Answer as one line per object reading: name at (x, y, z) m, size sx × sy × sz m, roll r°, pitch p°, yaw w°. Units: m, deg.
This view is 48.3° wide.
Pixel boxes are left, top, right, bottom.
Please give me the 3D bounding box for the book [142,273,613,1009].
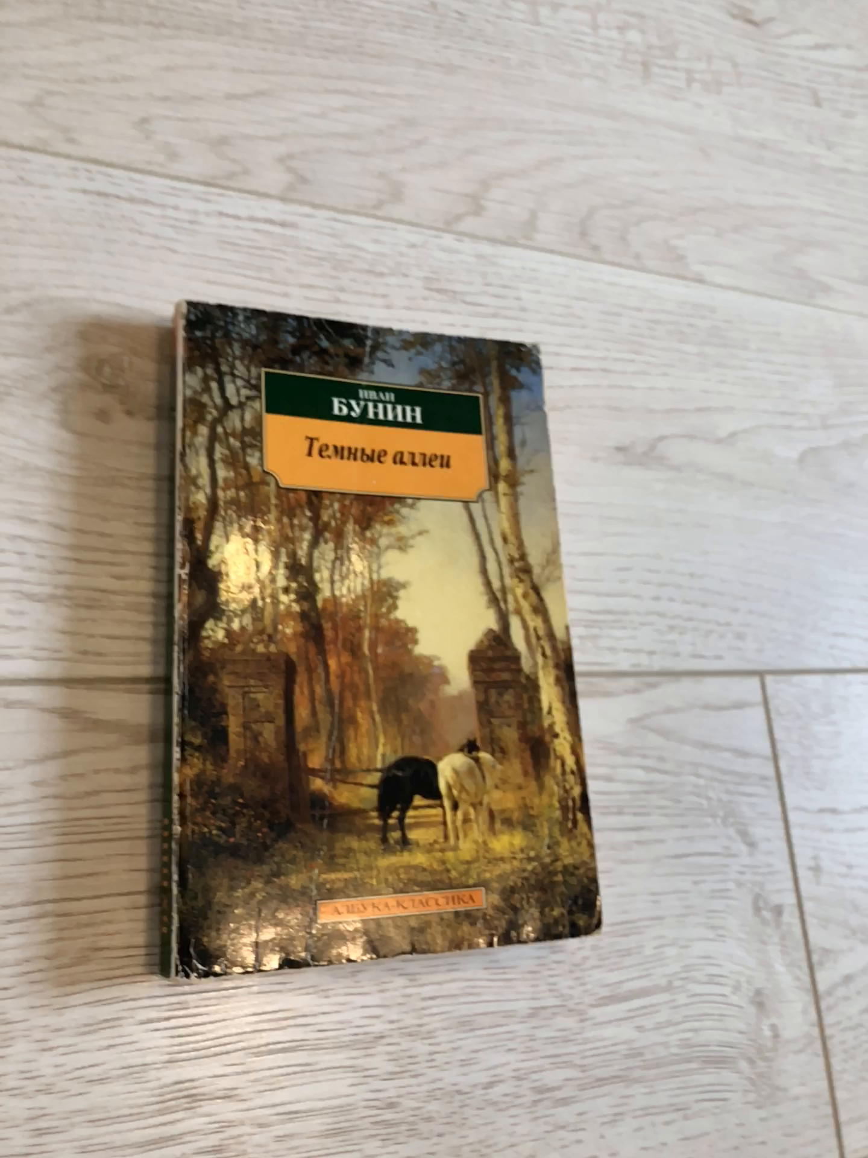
book at (-0.017, 0.011, 0.259) m, size 0.112 × 0.024 × 0.177 m, roll 2°, pitch 73°, yaw -21°
